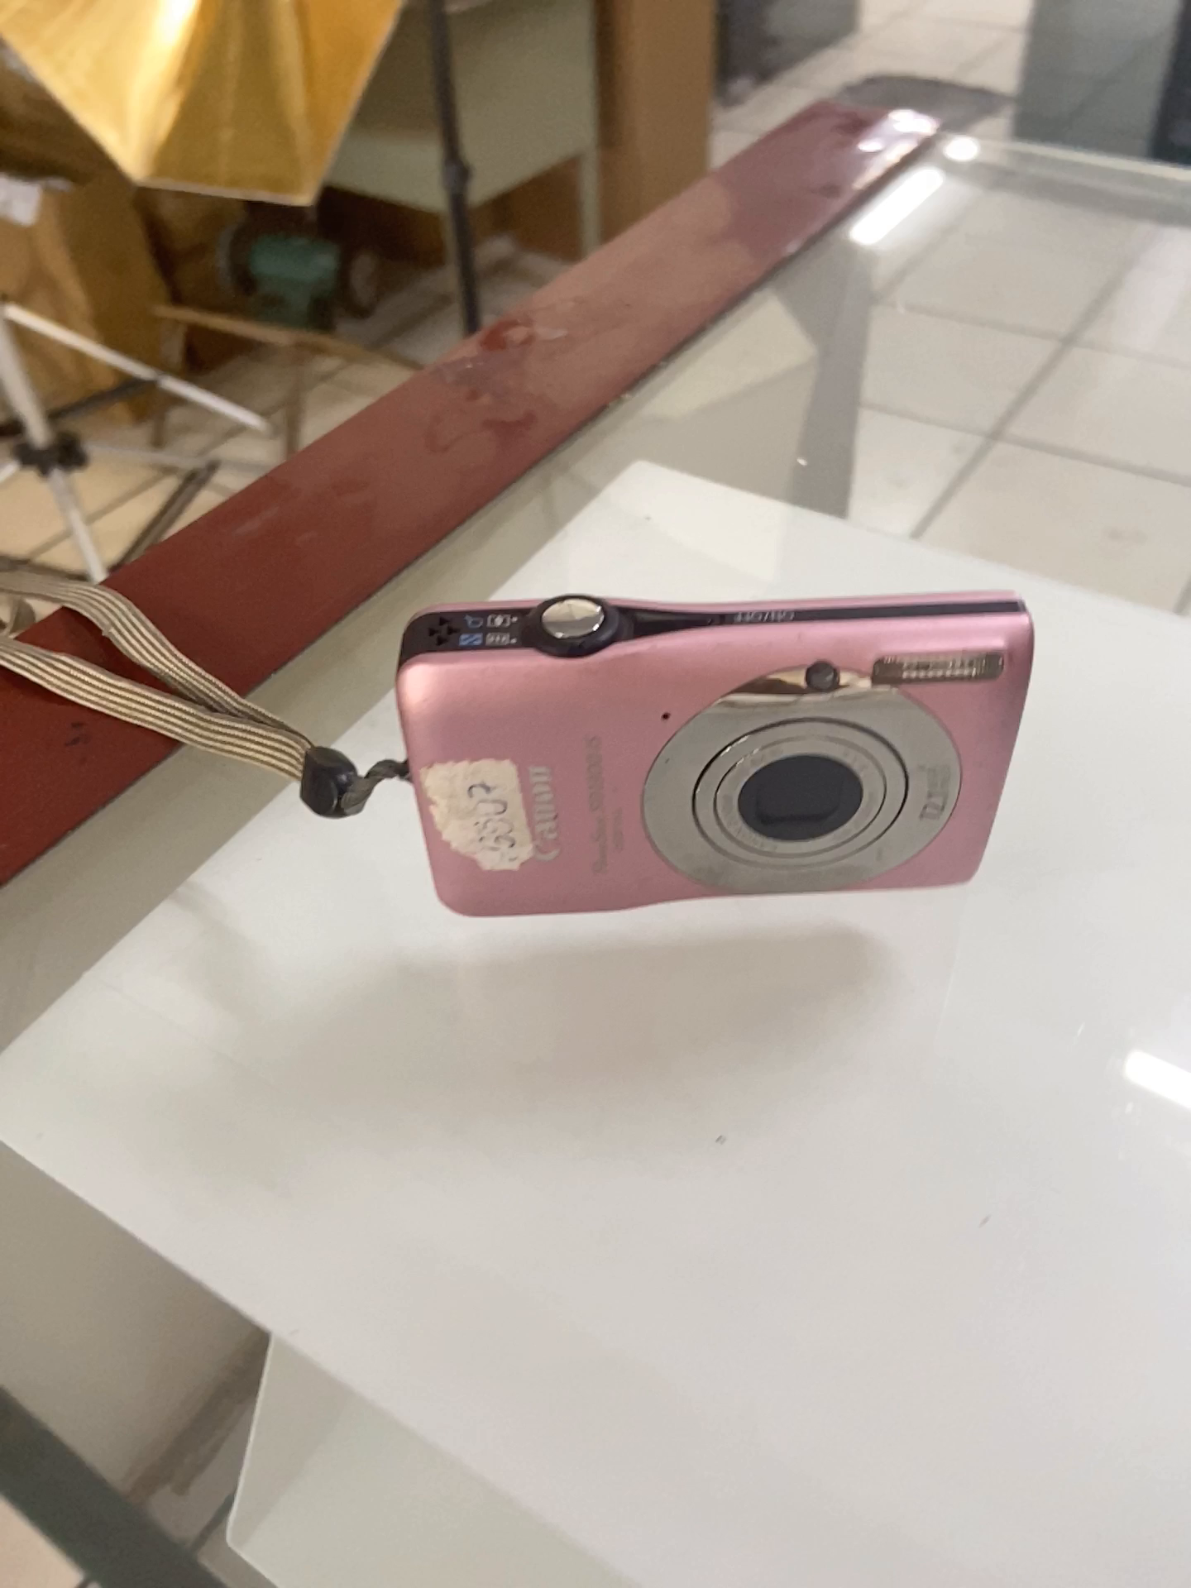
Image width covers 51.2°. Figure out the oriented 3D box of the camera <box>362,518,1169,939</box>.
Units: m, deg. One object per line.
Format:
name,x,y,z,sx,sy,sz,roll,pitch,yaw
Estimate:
camera,0.021,-0.009,0.181,0.100,0.050,0.030,-2,44,-2
